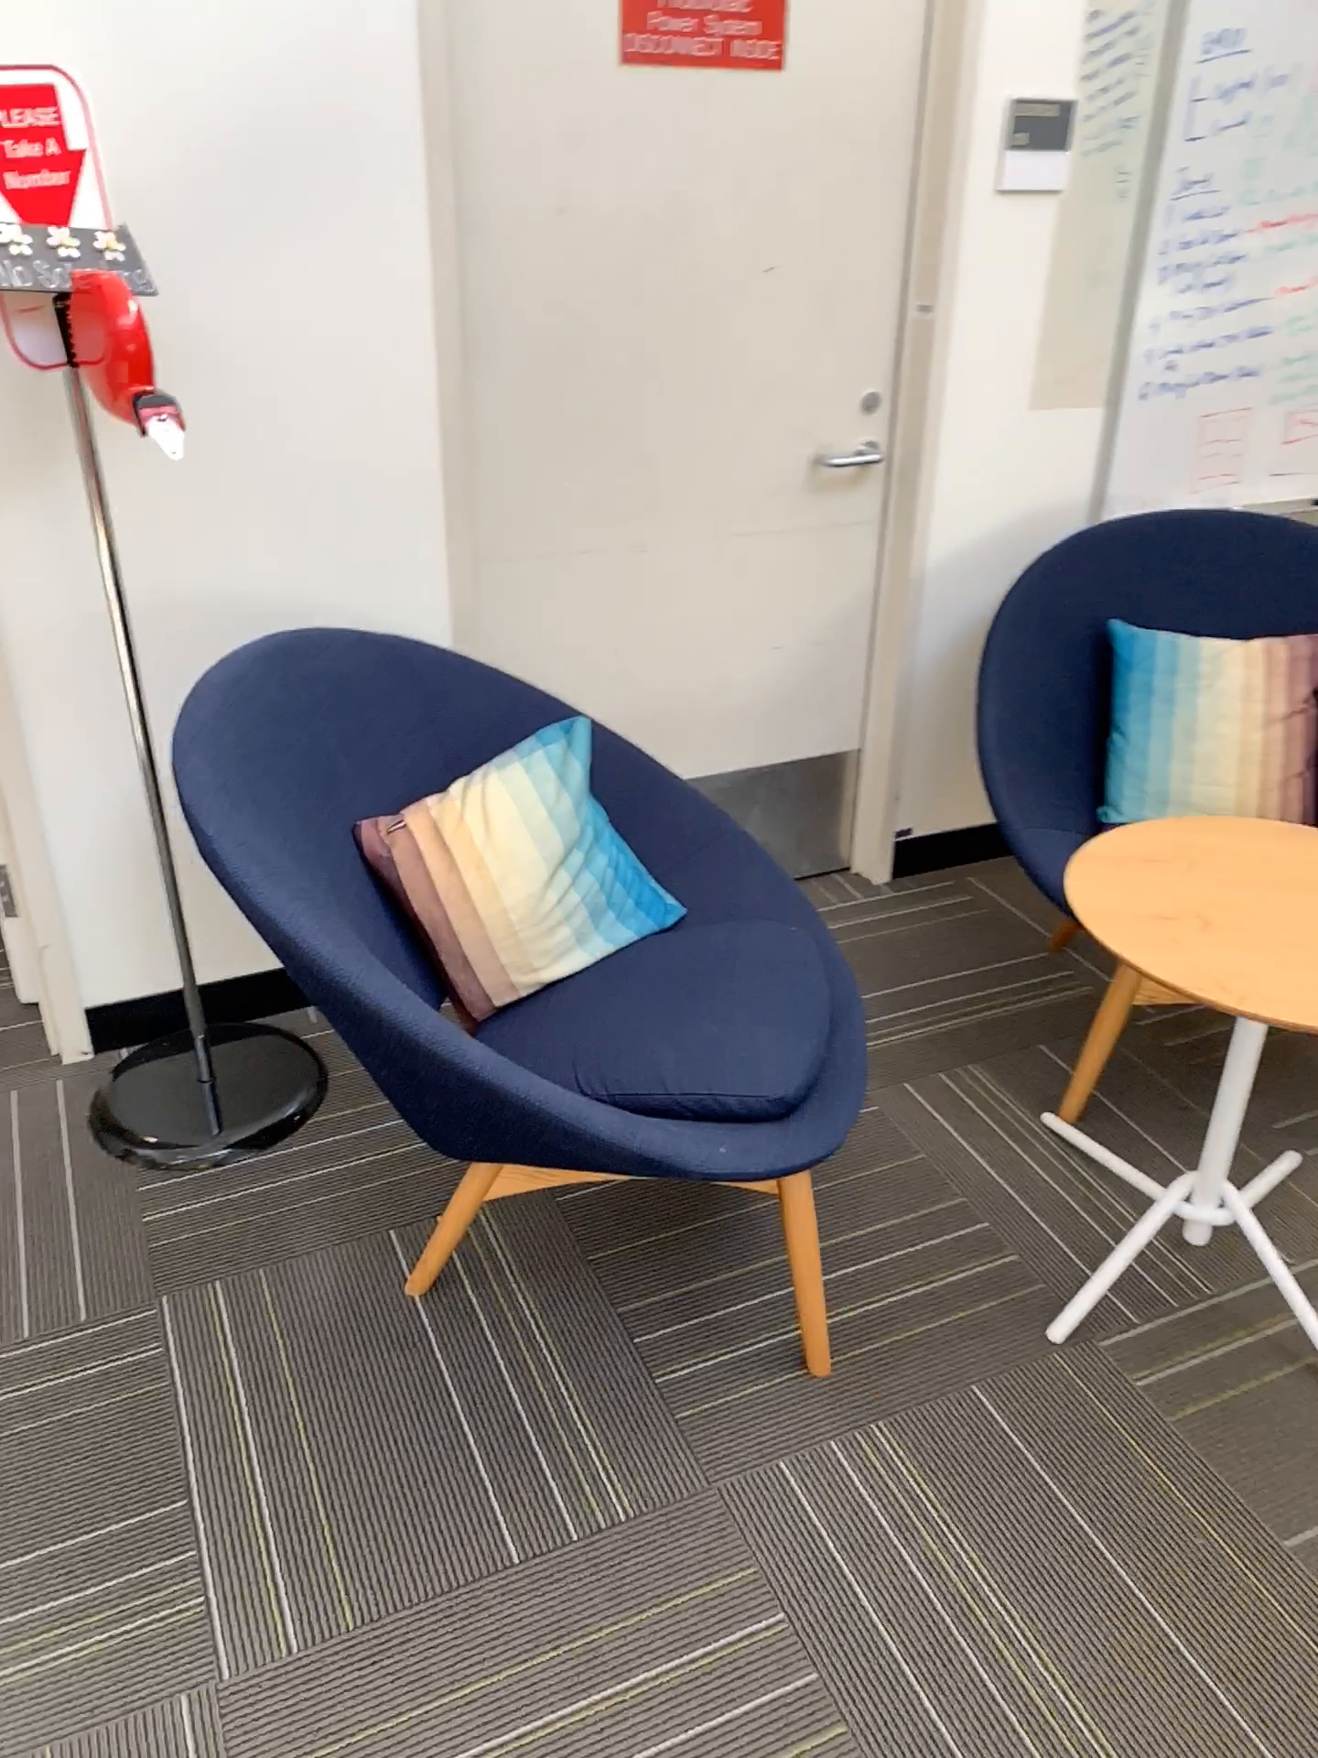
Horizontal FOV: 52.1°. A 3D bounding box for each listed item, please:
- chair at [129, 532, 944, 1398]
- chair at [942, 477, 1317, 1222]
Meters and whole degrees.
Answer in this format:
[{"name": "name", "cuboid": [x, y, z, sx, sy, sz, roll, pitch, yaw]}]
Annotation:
[{"name": "chair", "cuboid": [-0.086, 0.049, 1.928, 0.841, 0.835, 0.794, 7, 29, 11]}, {"name": "chair", "cuboid": [1.051, -0.137, 2.517, 0.831, 0.945, 0.985, 9, 29, 14]}]
